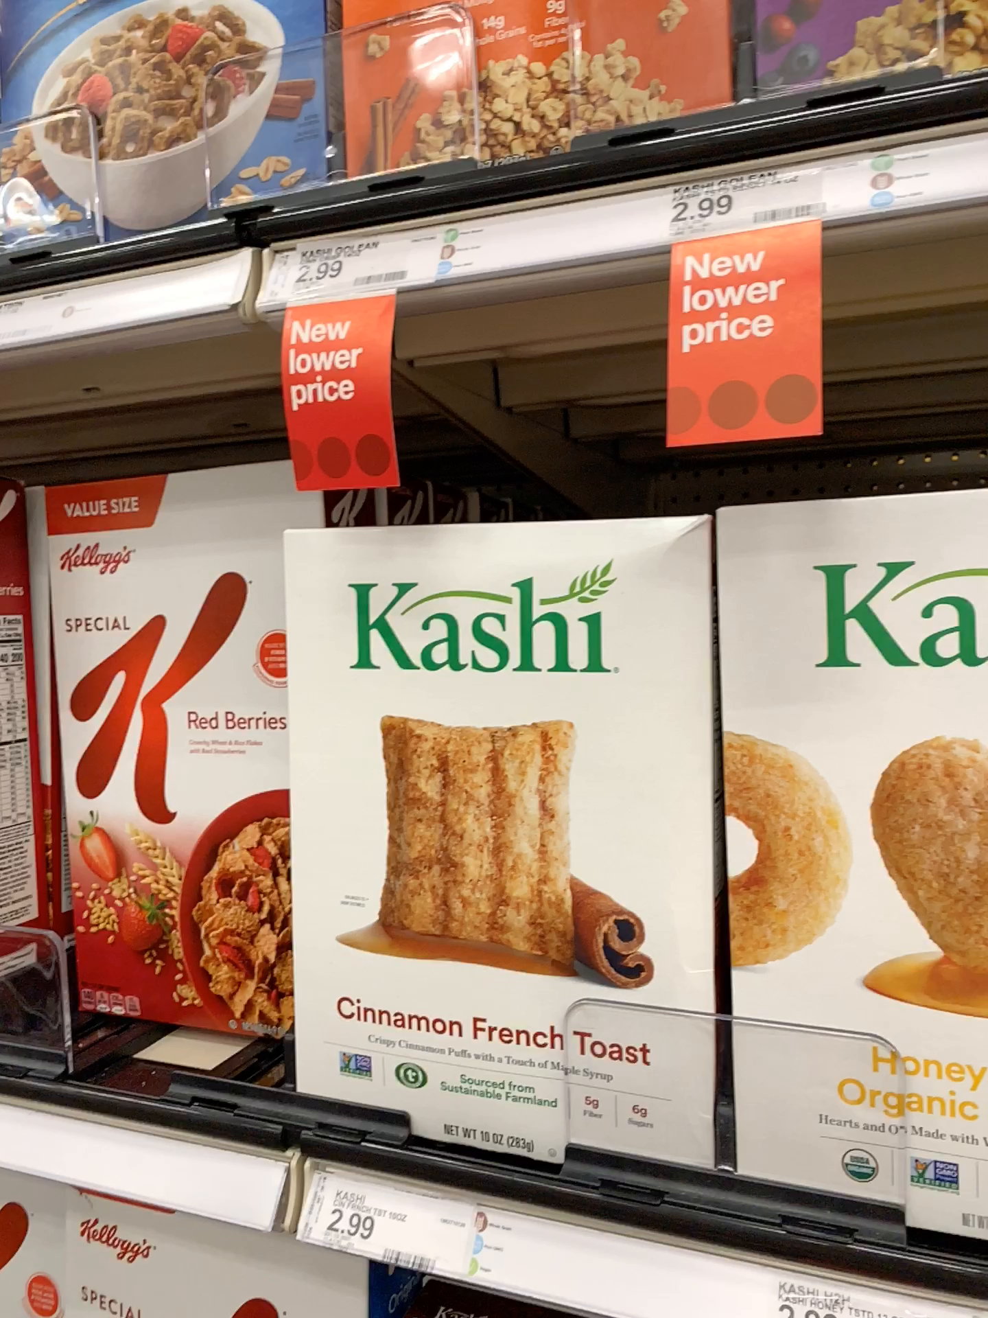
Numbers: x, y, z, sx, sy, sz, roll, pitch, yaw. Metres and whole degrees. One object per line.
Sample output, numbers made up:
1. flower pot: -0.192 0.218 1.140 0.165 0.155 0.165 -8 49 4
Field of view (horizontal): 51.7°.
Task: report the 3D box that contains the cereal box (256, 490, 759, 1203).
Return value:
1. cereal box: 0.004 0.071 0.452 0.210 0.270 0.060 0 2 23
